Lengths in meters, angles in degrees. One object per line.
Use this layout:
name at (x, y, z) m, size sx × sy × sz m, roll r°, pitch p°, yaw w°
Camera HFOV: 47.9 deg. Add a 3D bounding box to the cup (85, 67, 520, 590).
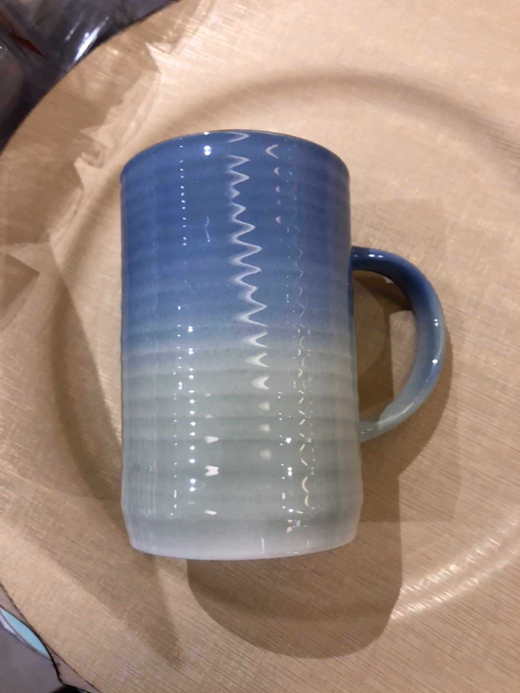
cup at (0.012, -0.005, 0.190) m, size 0.120 × 0.060 × 0.140 m, roll 0°, pitch 78°, yaw -8°
